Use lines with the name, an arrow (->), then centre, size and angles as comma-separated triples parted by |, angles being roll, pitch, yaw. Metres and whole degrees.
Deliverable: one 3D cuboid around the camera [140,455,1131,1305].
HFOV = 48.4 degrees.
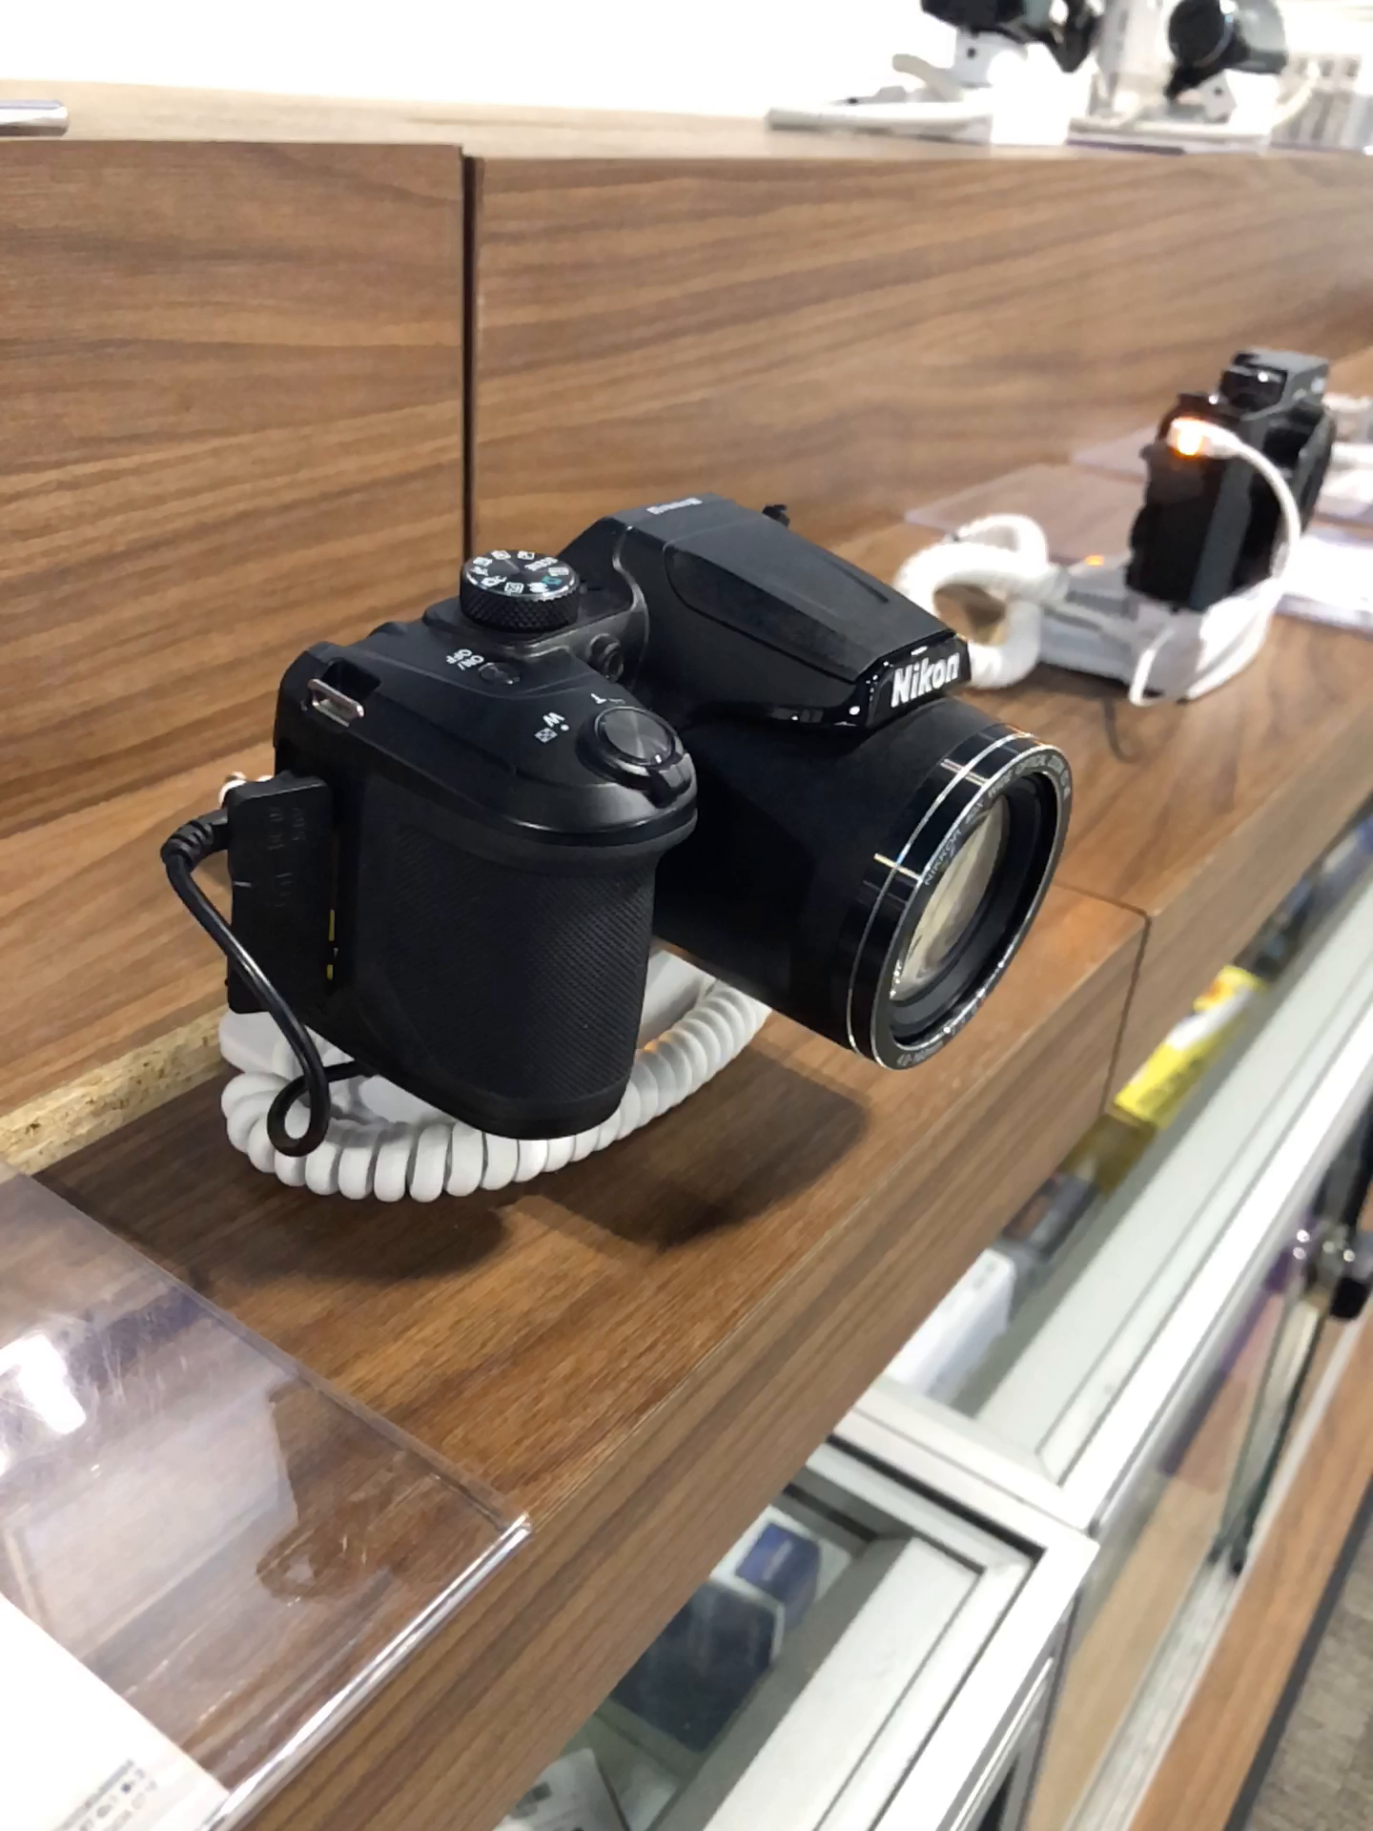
camera -> -0.006, -0.020, 0.257 | 0.110, 0.079, 0.110 | 22, 33, 30
